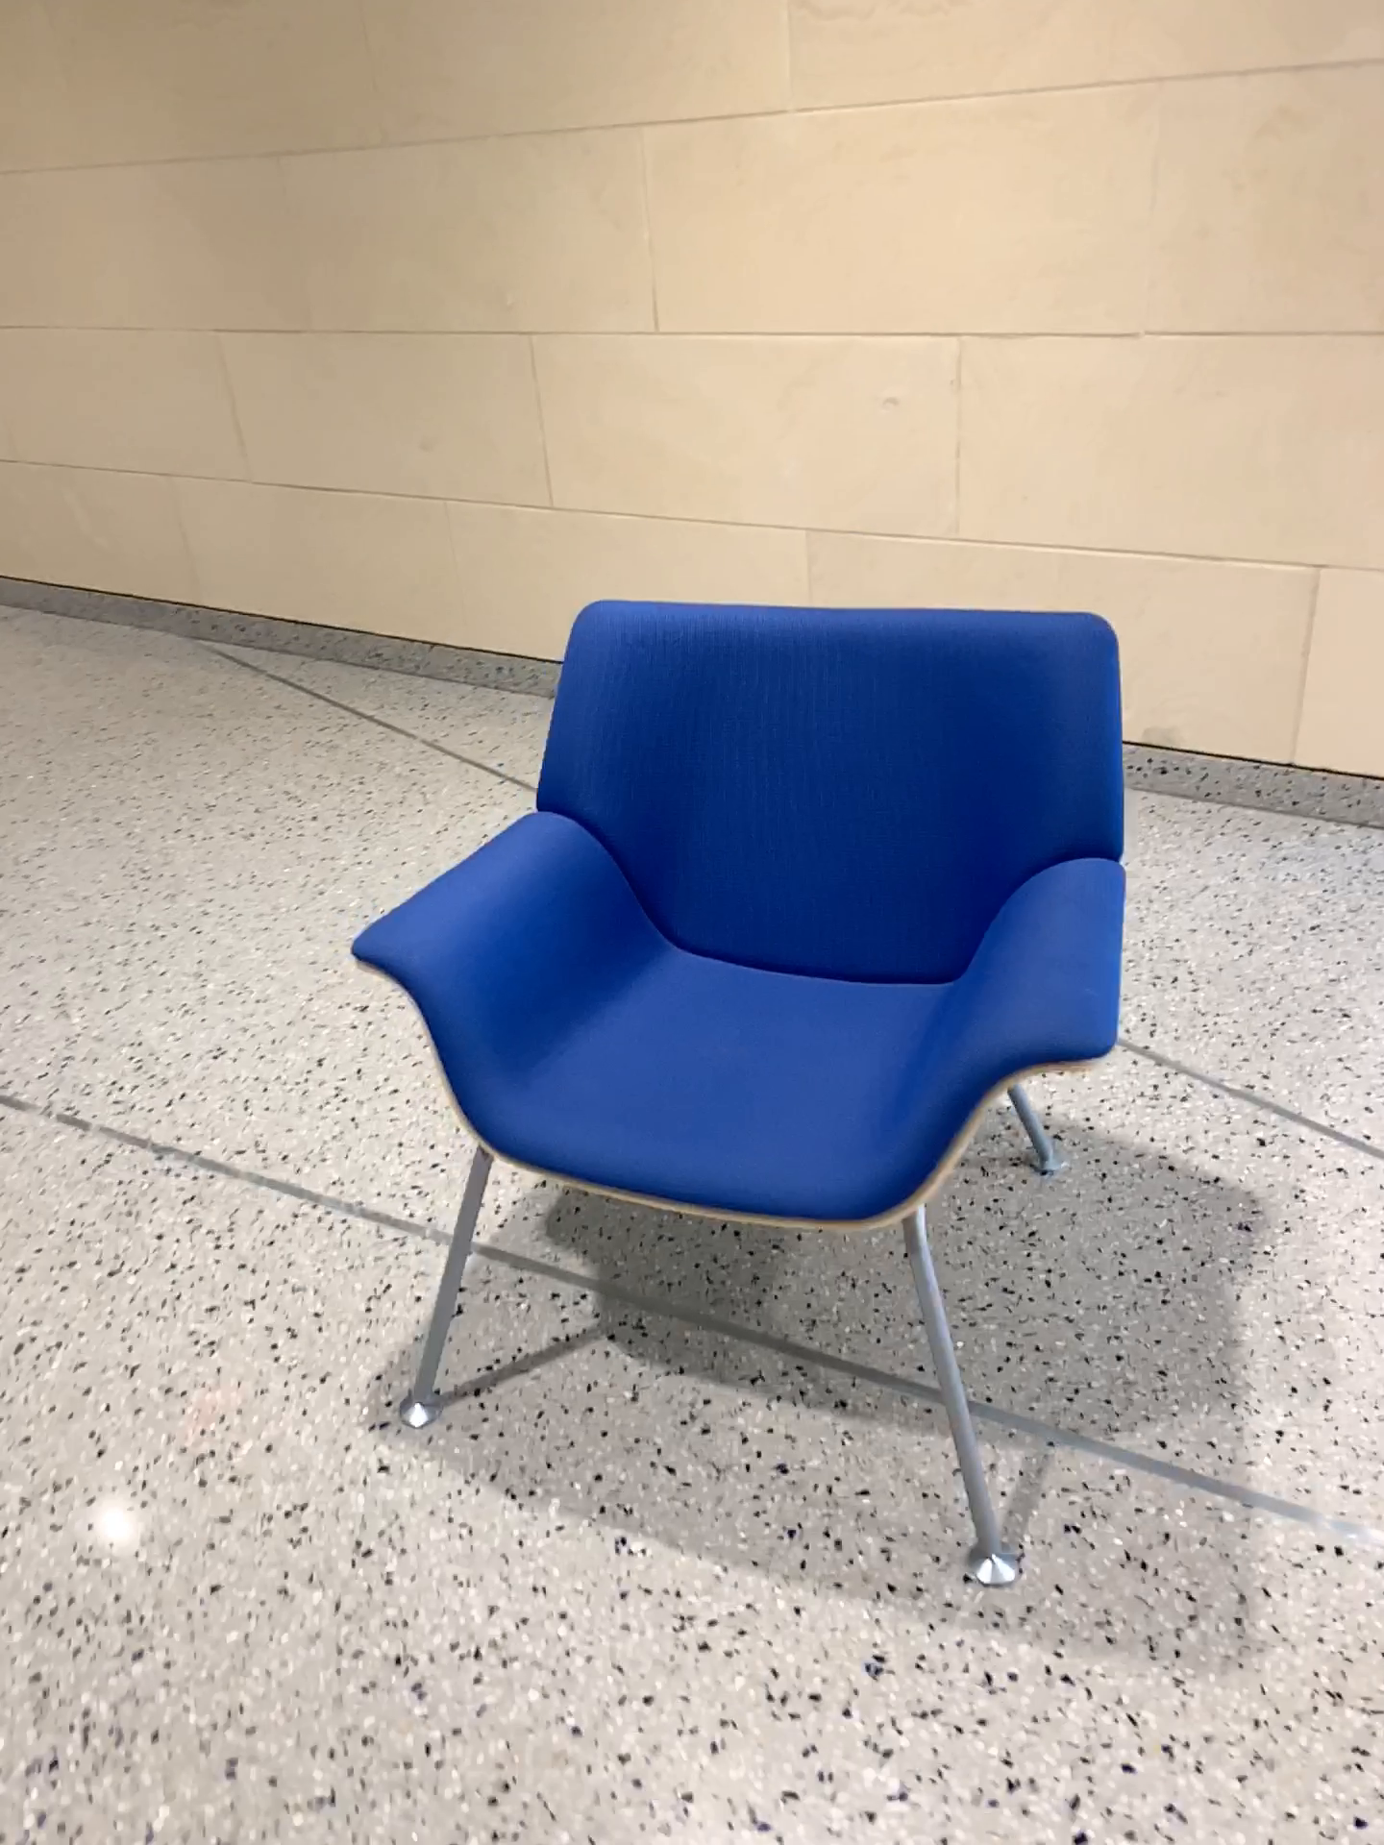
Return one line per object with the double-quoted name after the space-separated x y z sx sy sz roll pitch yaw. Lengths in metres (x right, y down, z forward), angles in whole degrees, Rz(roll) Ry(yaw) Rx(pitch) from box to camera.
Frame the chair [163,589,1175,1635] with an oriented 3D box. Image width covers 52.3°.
0.067 0.115 1.574 0.779 0.728 0.763 7 32 21 "chair"
